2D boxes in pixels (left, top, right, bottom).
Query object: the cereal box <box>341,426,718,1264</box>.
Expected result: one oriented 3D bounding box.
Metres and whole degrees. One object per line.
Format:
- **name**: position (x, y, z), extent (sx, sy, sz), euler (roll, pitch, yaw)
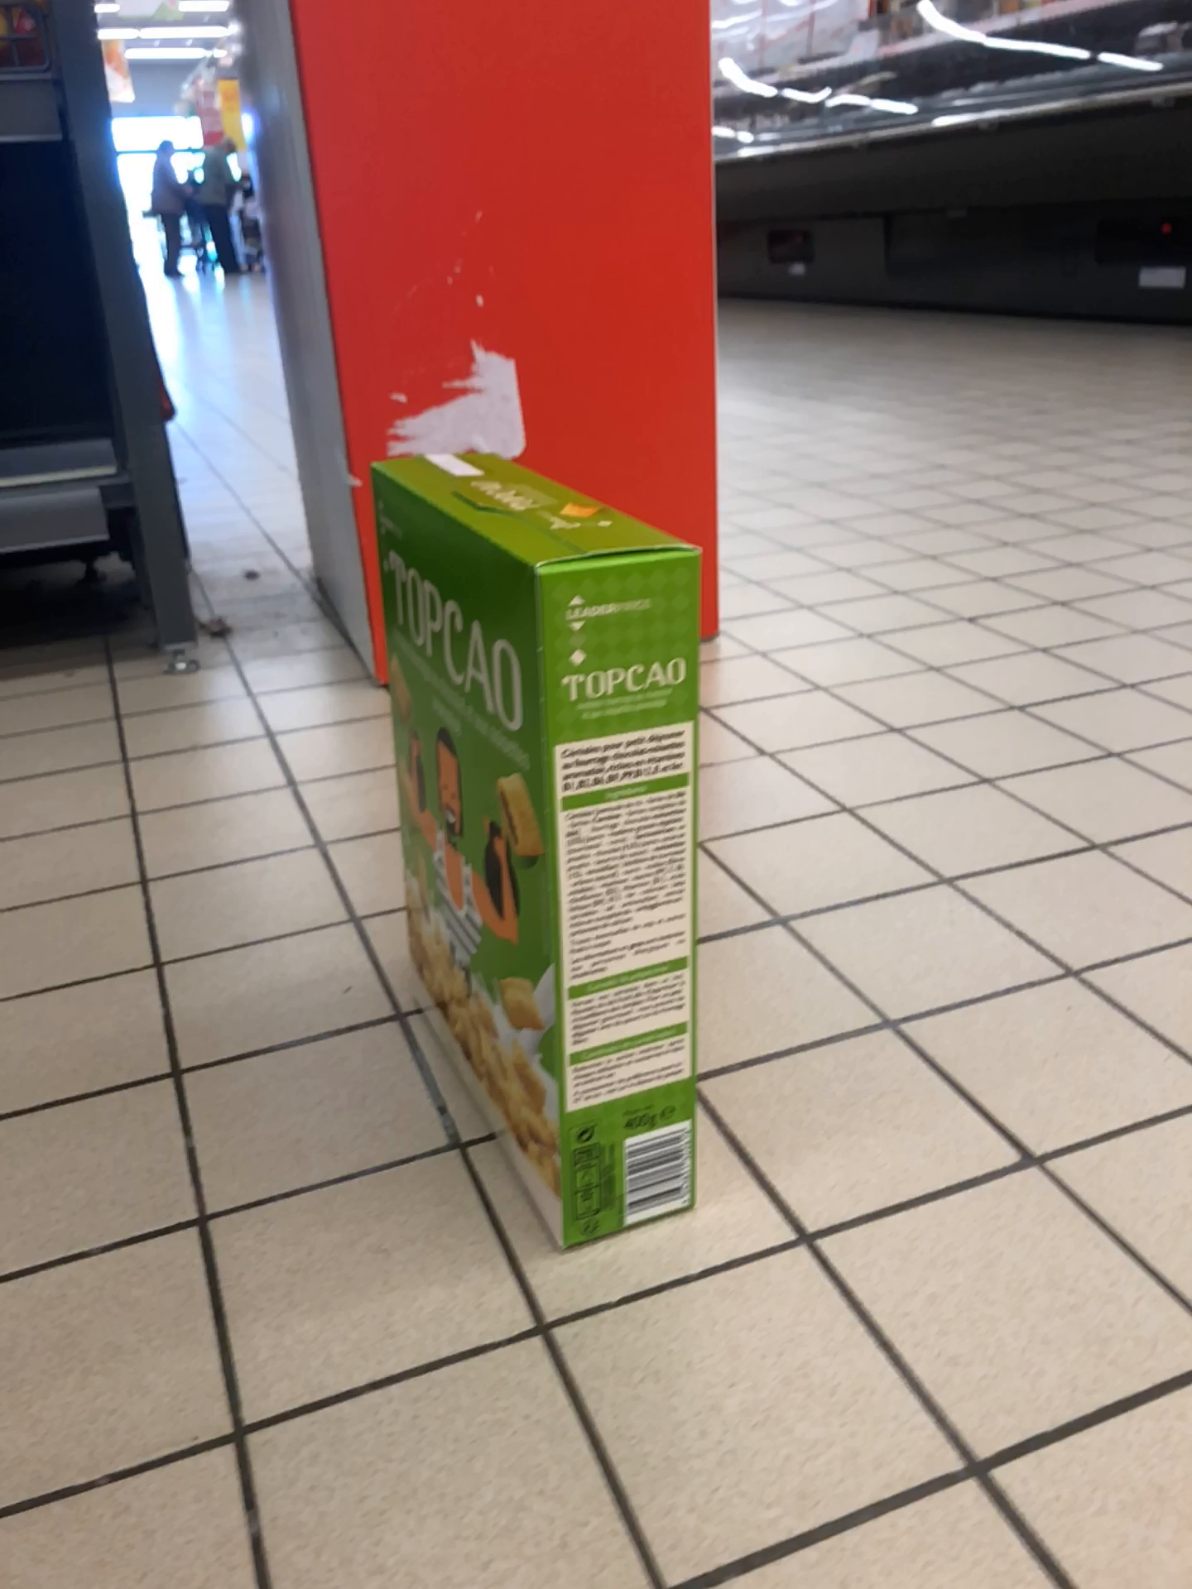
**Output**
- **cereal box**: position (-0.034, 0.005, 0.497), extent (0.060, 0.249, 0.201), euler (-9, 26, -22)
